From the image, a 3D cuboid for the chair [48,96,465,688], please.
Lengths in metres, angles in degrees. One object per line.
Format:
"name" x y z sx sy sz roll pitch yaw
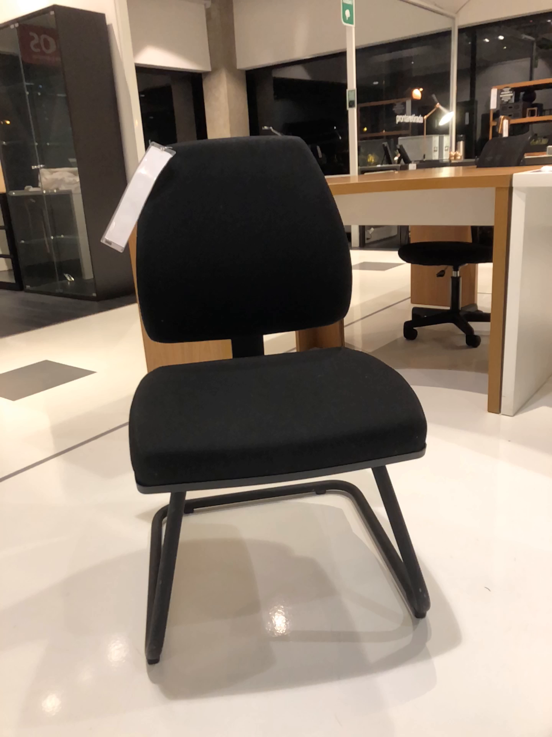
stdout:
"chair" -0.034 -0.006 1.180 0.550 0.875 0.563 -7 18 -9
